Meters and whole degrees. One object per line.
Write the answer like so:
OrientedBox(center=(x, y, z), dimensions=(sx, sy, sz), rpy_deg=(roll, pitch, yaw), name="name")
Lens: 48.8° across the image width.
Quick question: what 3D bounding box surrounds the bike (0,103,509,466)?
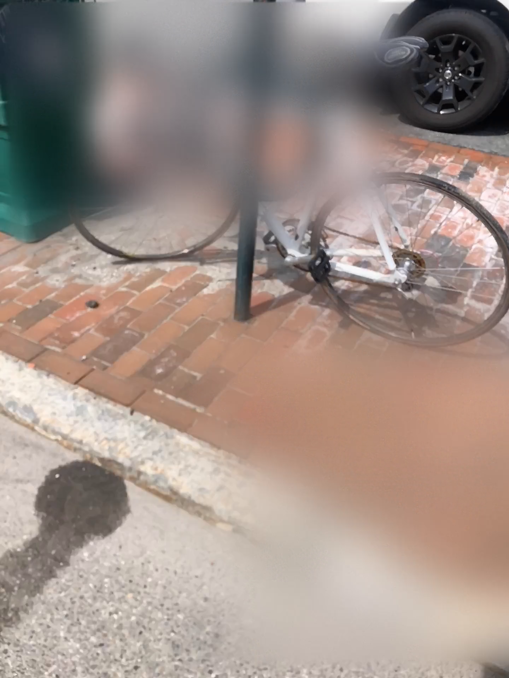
OrientedBox(center=(-0.001, -0.188, 1.493), dimensions=(1.274, 0.650, 0.467), rpy_deg=(12, 38, 15), name="bike")
